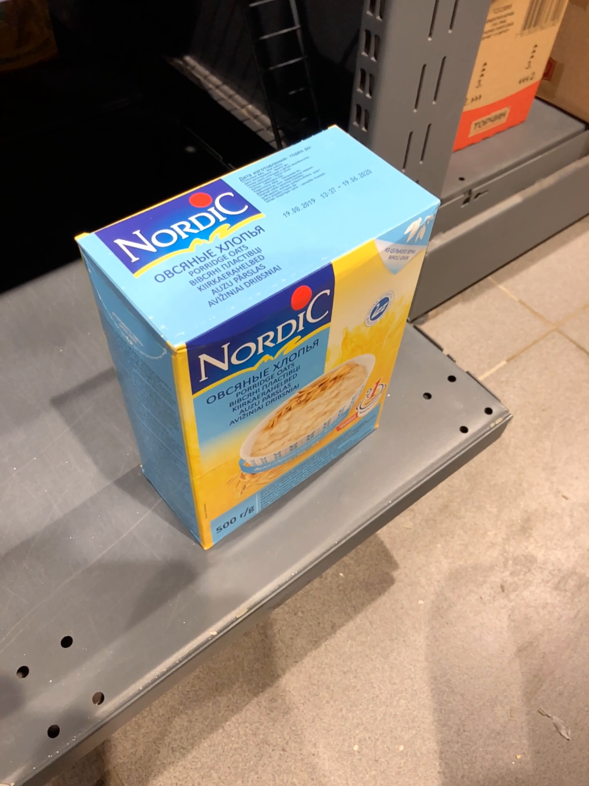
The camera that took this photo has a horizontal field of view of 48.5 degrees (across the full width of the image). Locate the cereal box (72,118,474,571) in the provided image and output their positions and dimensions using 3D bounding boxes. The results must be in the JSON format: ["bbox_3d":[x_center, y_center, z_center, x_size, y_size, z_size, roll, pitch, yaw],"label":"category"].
[{"bbox_3d":[-0.008,-0.018,0.342,0.151,0.179,0.080,-34,61,-25],"label":"cereal box"}]
